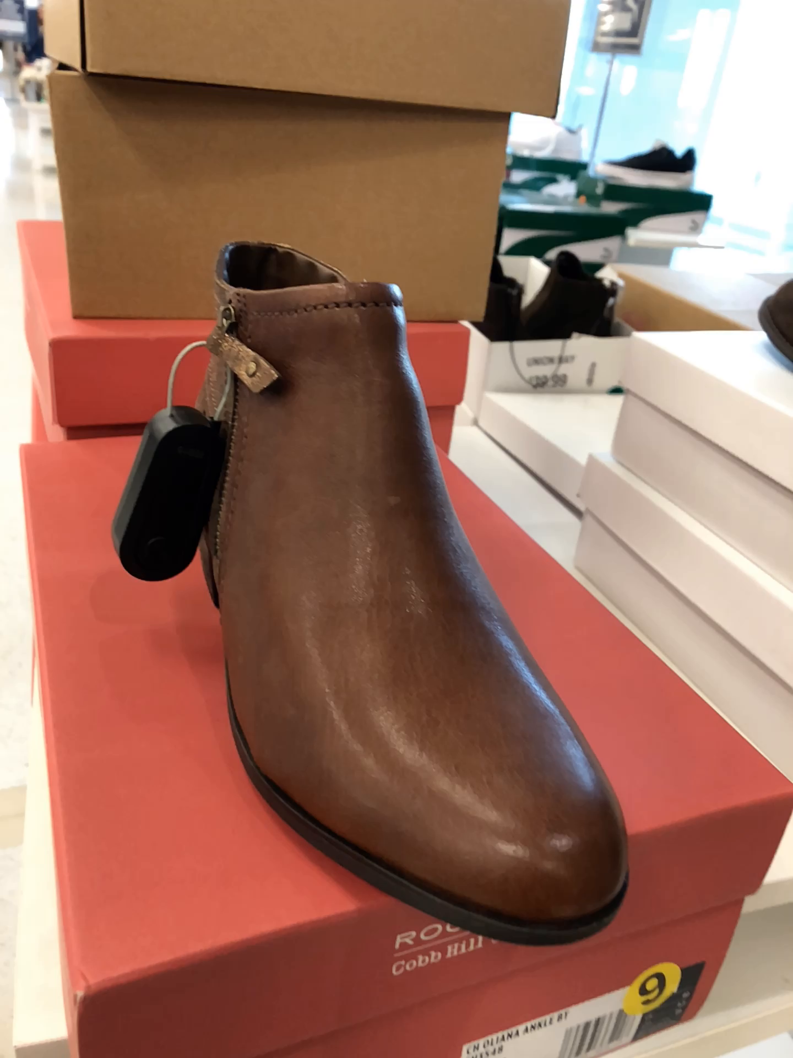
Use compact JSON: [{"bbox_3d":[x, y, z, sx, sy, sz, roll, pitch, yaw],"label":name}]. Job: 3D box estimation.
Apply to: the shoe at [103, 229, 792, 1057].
[{"bbox_3d":[-0.015,-0.007,0.287,0.101,0.119,0.282,-7,31,-26],"label":"shoe"}]
